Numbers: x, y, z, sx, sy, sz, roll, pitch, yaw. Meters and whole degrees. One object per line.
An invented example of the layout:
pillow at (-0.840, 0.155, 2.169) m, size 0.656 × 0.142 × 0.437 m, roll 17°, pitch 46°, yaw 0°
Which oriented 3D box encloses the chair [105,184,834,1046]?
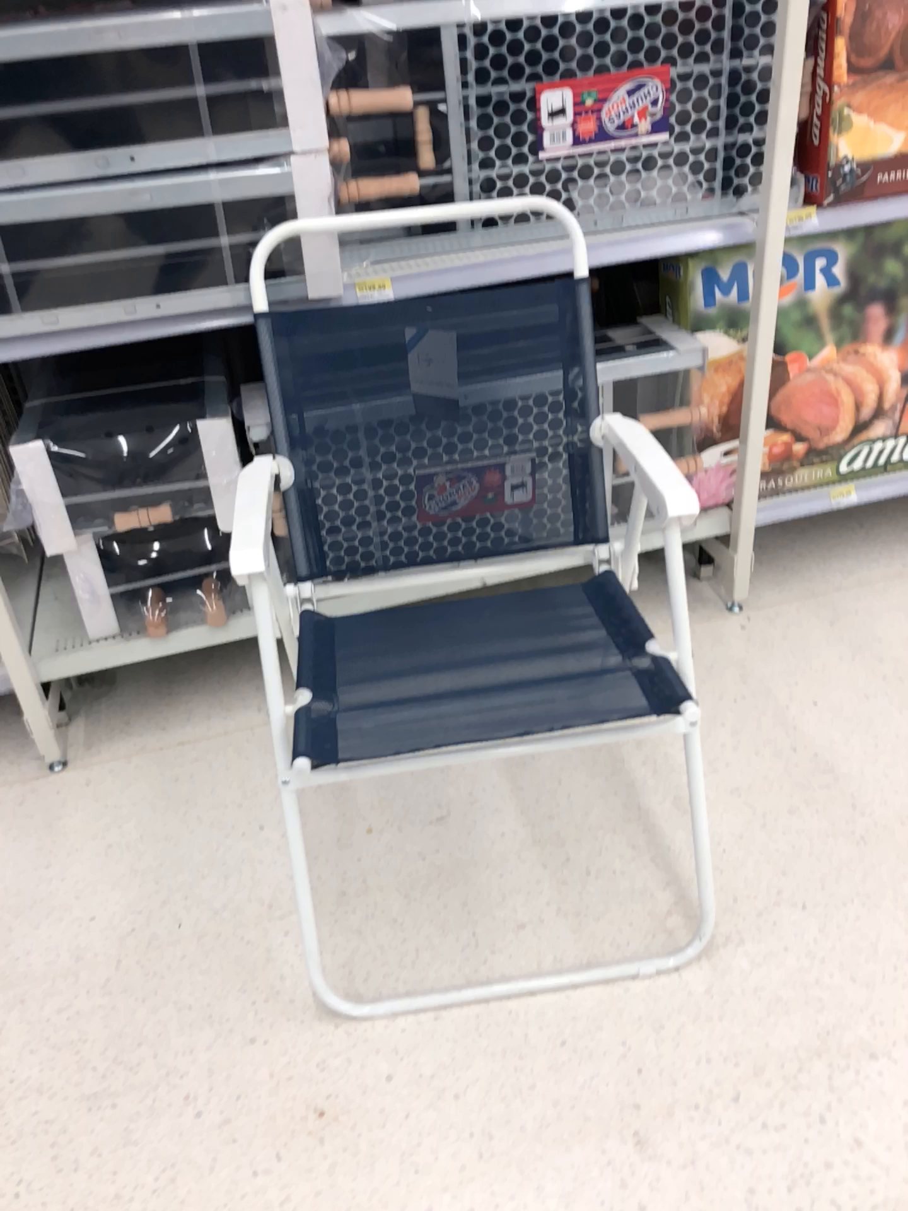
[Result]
chair at (0.003, -0.026, 1.200) m, size 0.540 × 0.735 × 0.655 m, roll -8°, pitch 34°, yaw -4°
